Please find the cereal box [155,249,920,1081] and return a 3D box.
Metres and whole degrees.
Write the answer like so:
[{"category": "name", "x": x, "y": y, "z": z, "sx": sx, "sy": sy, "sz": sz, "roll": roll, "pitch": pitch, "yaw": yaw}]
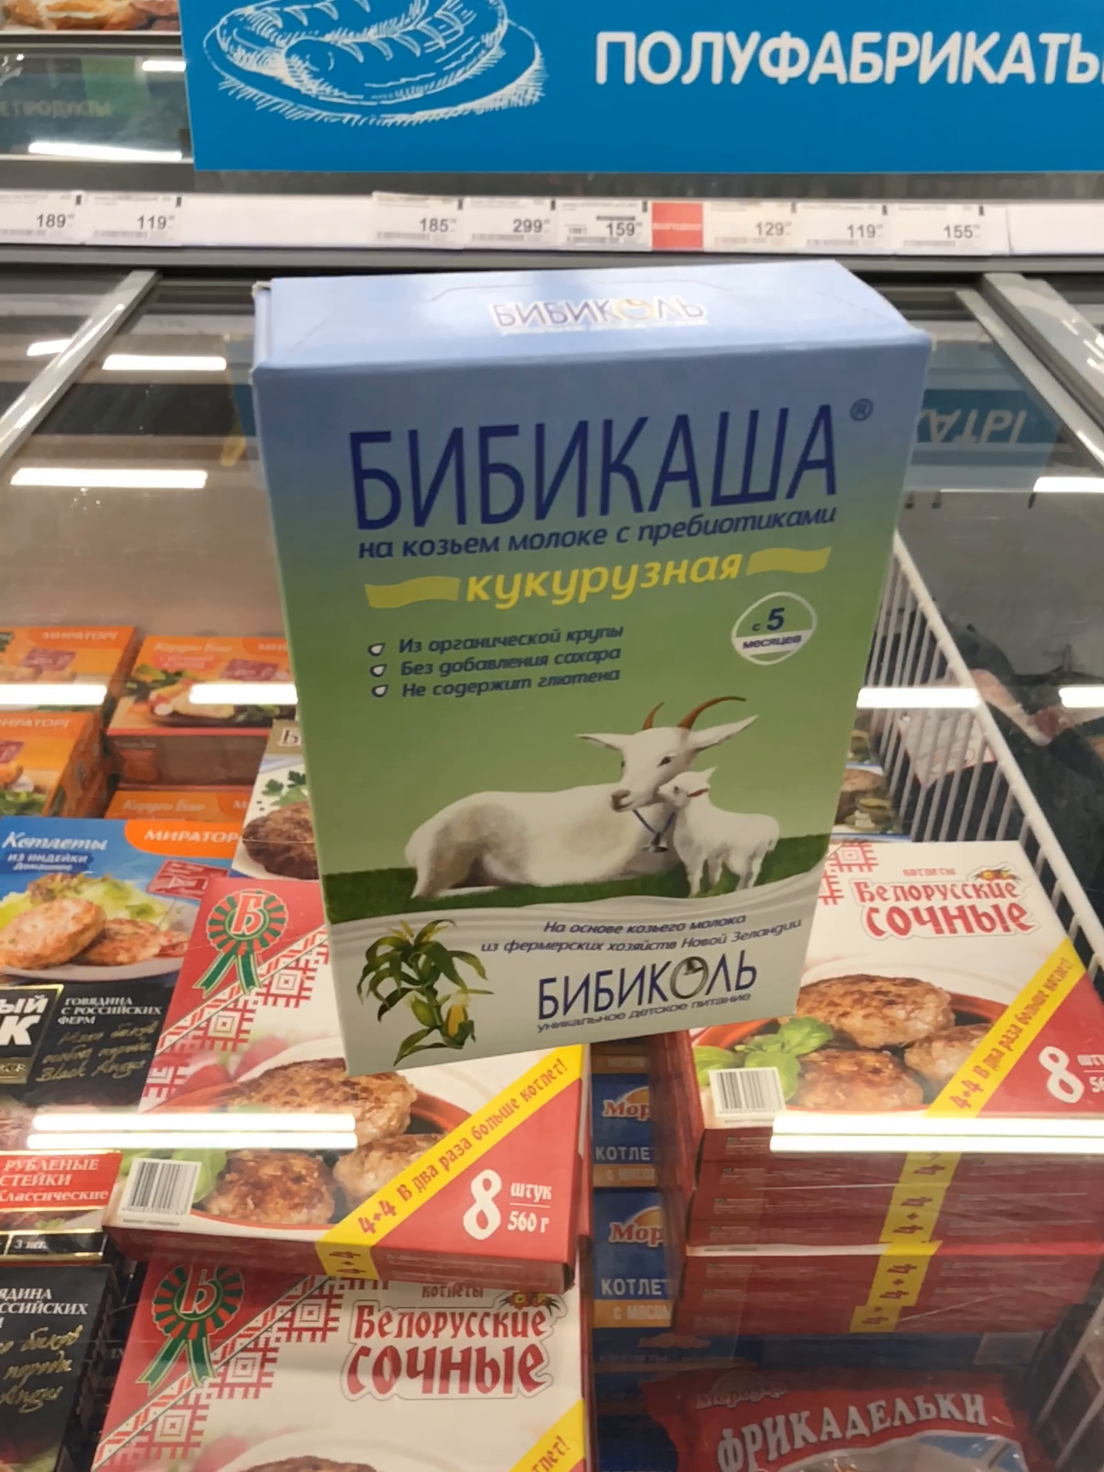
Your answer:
[{"category": "cereal box", "x": -0.005, "y": -0.007, "z": 0.300, "sx": 0.140, "sy": 0.199, "sz": 0.050, "roll": -5, "pitch": 37, "yaw": -8}]
